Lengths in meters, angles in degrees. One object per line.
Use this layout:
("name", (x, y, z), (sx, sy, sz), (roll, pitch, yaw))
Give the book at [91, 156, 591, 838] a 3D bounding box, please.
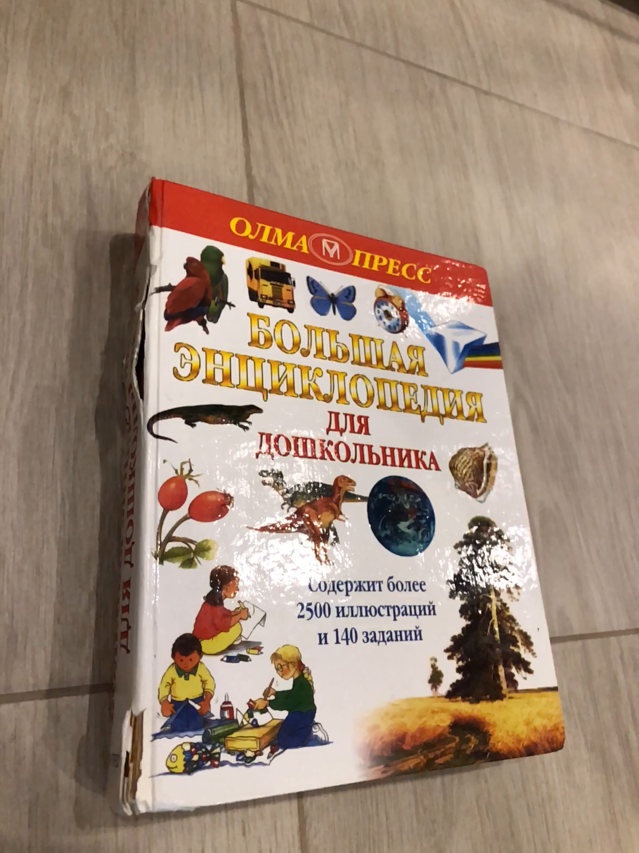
("book", (0.011, 0.027, 0.356), (0.216, 0.060, 0.281), (8, 66, -27))
